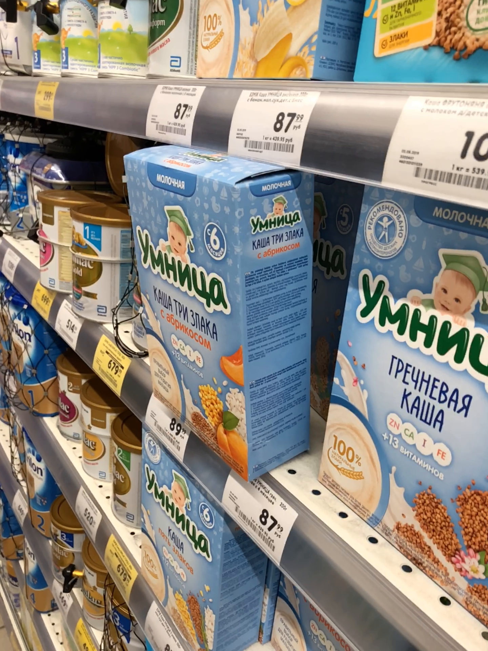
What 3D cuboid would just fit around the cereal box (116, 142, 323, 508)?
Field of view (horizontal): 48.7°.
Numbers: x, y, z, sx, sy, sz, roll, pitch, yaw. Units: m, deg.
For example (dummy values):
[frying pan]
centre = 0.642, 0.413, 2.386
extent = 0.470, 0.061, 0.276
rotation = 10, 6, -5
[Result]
[cereal box]
centre = -0.018, -0.007, 0.374
extent = 0.060, 0.209, 0.140
rotation = -19, 31, -30
